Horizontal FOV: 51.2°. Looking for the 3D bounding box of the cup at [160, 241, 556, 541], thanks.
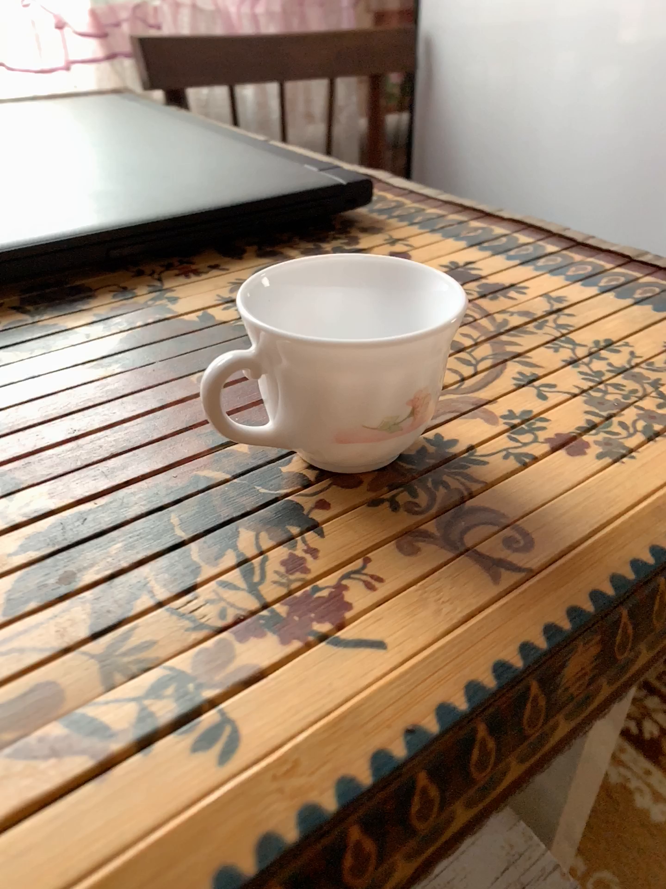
[{"bbox_3d":[0.005,-0.022,0.193,0.081,0.039,0.068,-18,38,-26],"label":"cup"}]
